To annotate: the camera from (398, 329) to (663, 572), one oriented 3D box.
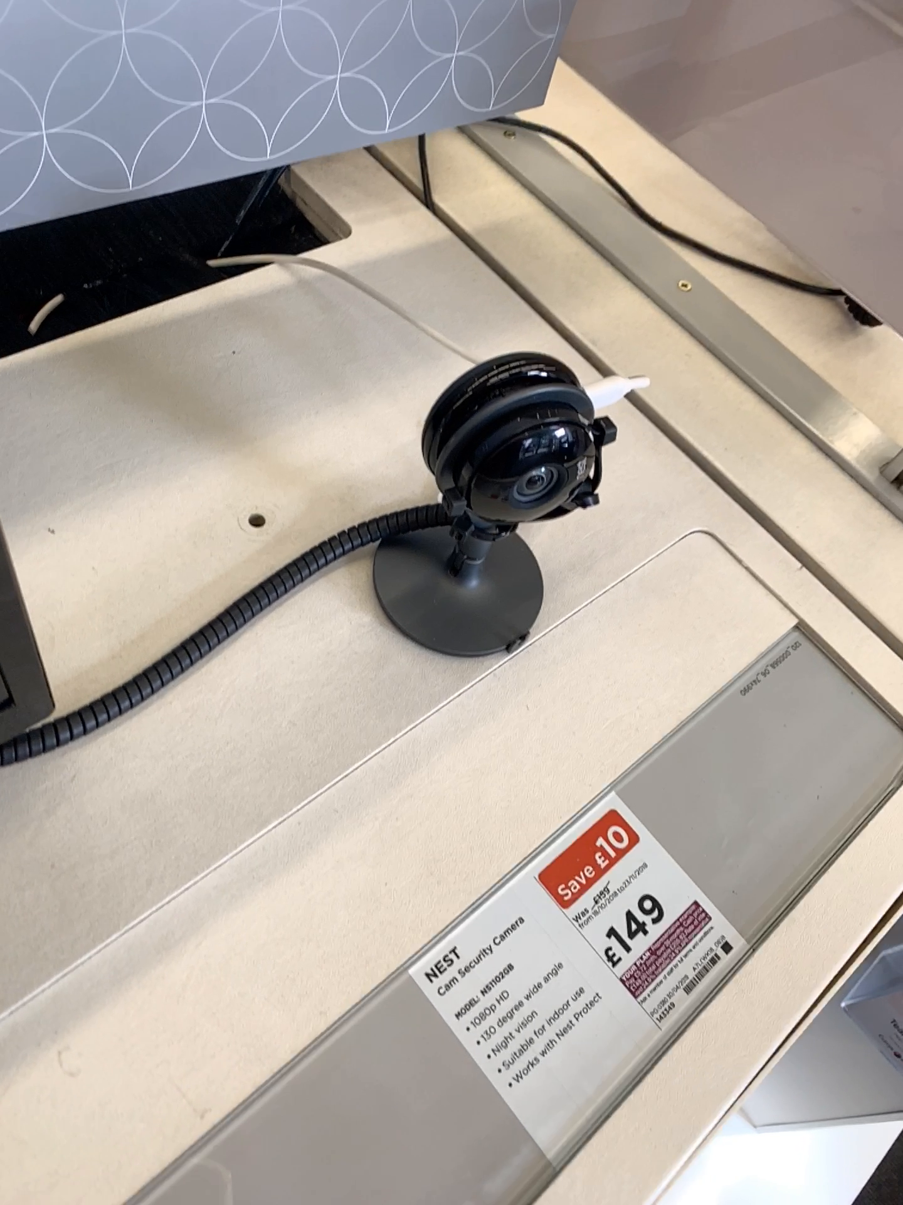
[{"bbox_3d":[0.023,-0.050,0.305,0.060,0.050,0.050,-13,62,-22],"label":"camera"}]
